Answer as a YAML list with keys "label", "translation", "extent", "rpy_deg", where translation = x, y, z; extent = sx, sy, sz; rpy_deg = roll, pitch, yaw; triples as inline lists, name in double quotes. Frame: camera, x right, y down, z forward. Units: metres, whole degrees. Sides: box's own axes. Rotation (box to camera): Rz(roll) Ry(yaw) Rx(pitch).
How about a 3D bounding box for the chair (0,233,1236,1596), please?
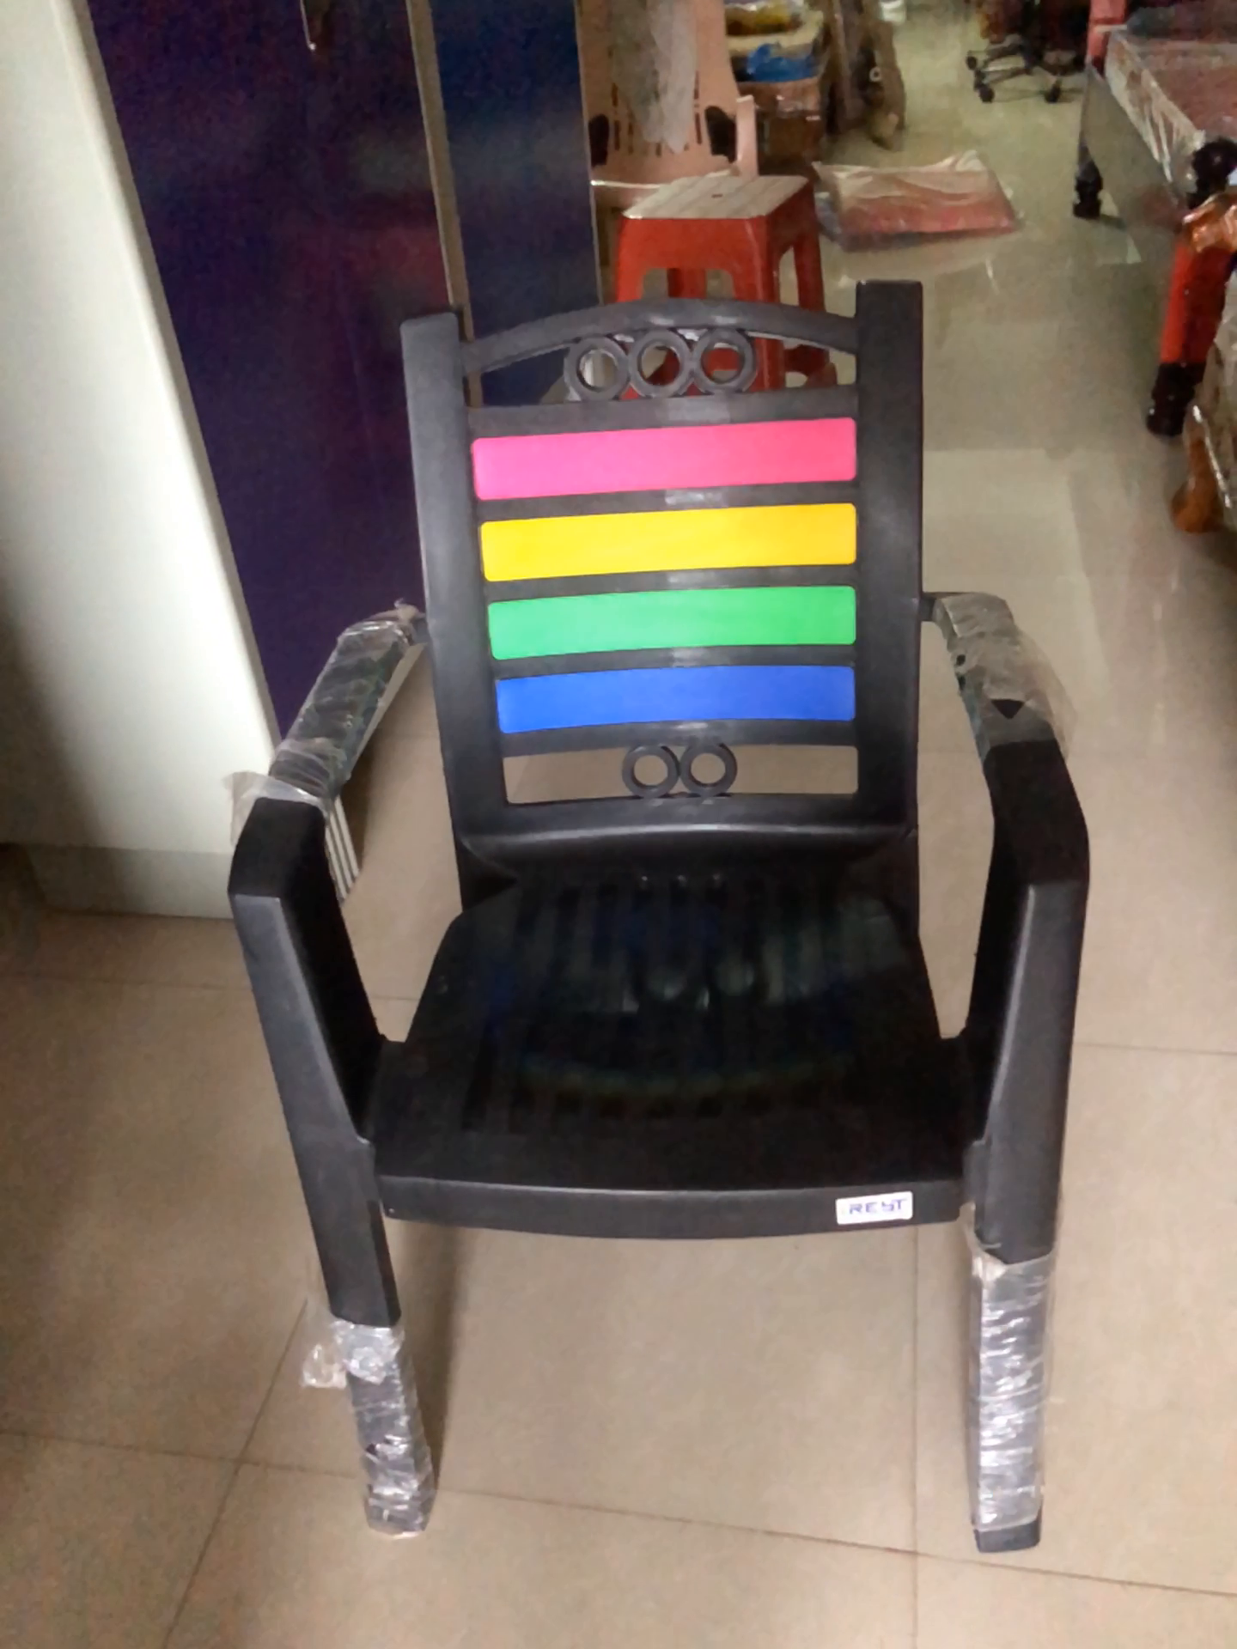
- label: "chair"
  translation: [0.047, 0.097, 1.181]
  extent: [0.640, 0.975, 0.613]
  rpy_deg: [-1, 36, 8]
